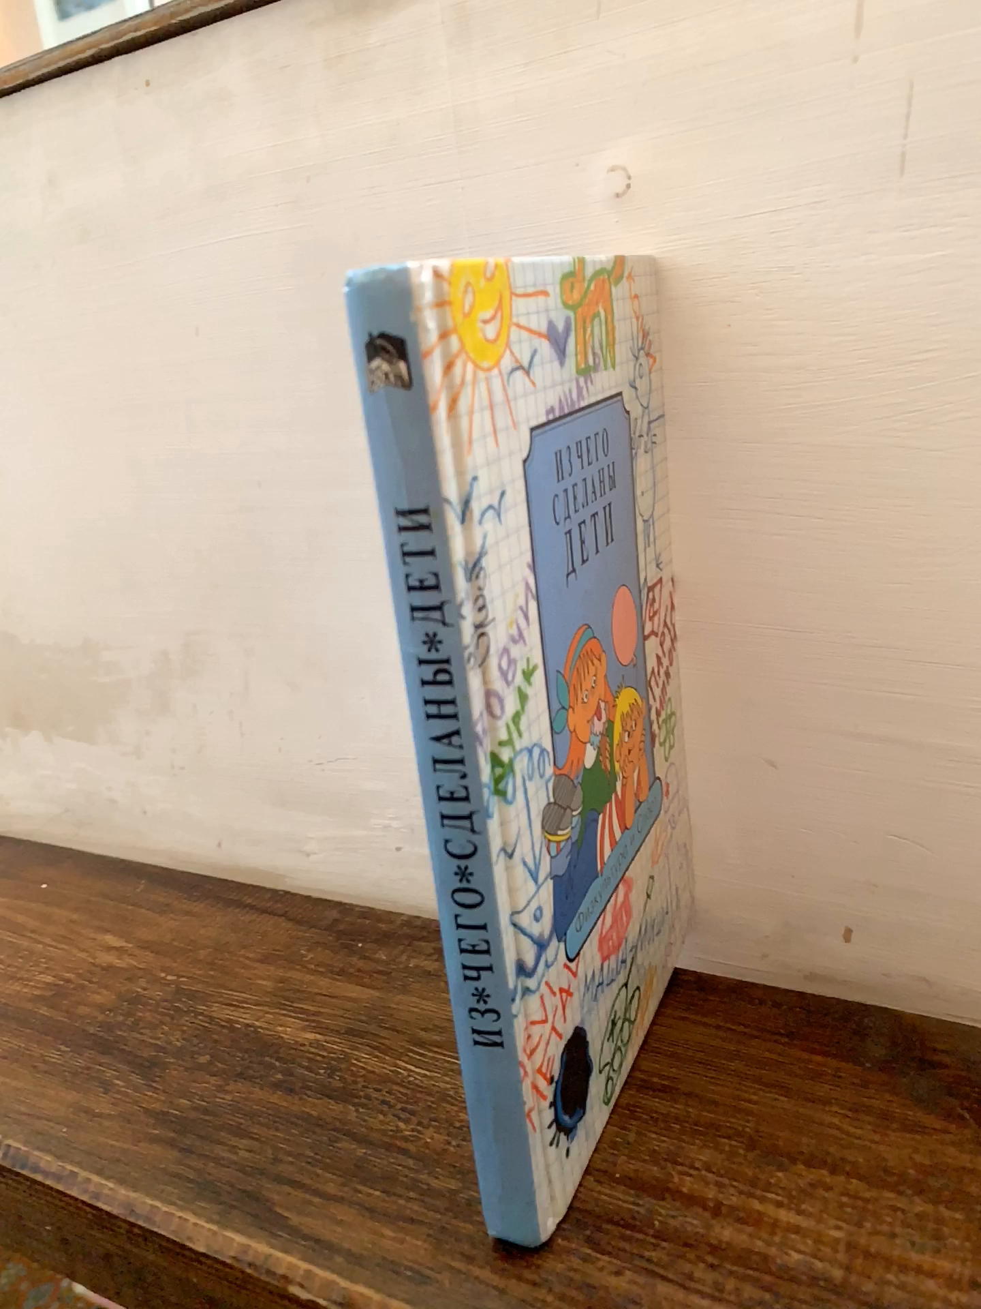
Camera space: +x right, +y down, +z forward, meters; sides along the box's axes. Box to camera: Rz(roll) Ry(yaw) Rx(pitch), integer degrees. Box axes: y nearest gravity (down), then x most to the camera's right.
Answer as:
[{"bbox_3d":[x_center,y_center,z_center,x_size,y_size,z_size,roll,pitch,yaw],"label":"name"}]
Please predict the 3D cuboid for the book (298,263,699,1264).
[{"bbox_3d":[0.017,0.012,0.242,0.020,0.195,0.131,1,19,26],"label":"book"}]
